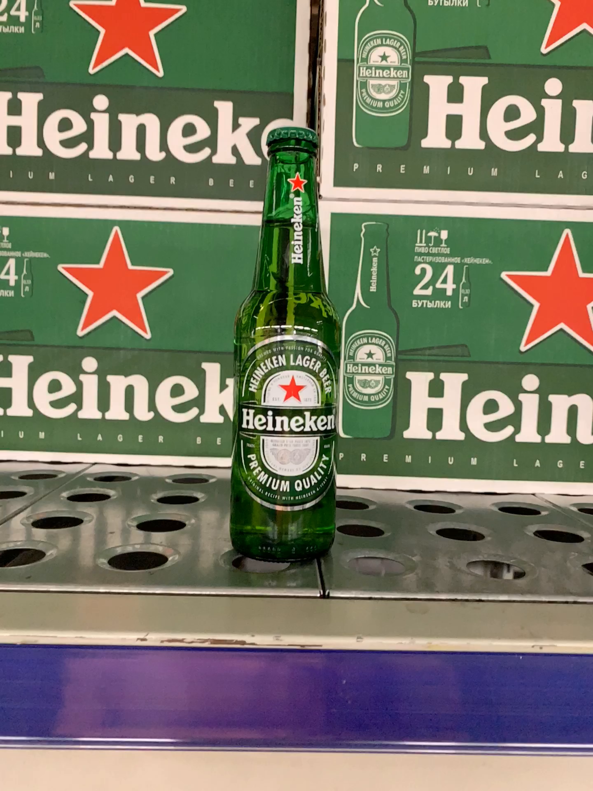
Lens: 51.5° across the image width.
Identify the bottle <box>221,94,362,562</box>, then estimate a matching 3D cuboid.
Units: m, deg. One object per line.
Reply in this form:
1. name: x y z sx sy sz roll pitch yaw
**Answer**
1. bottle: -0.004 -0.032 0.331 0.060 0.226 0.060 2 4 0
